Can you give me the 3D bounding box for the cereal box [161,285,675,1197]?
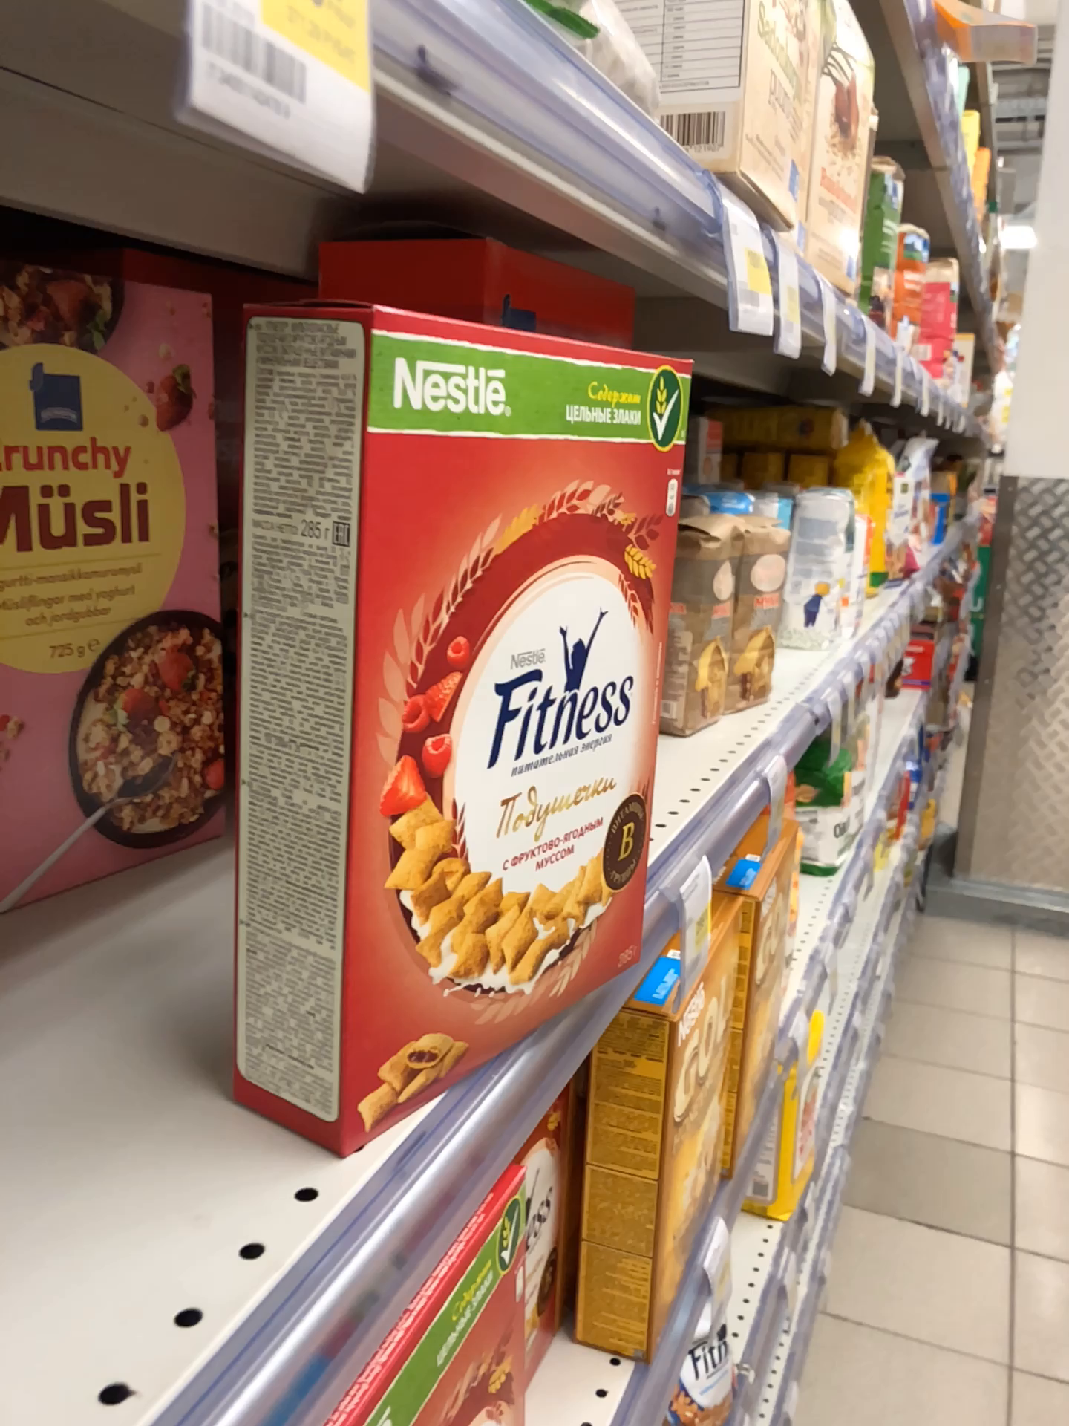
[{"bbox_3d":[-0.031,-0.002,0.385,0.050,0.239,0.180,13,16,33],"label":"cereal box"}]
